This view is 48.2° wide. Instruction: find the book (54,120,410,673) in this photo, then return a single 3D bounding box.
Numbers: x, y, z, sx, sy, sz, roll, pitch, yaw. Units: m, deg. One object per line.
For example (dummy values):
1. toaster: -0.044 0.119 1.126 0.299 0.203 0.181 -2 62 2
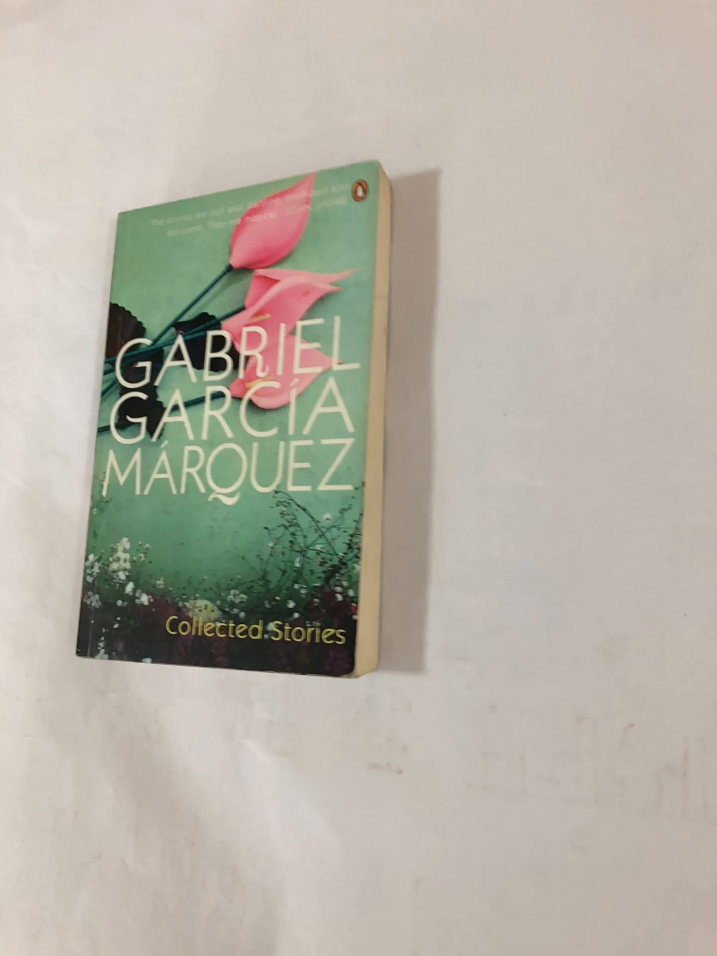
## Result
1. book: -0.049 -0.029 0.318 0.131 0.030 0.200 -3 78 24
